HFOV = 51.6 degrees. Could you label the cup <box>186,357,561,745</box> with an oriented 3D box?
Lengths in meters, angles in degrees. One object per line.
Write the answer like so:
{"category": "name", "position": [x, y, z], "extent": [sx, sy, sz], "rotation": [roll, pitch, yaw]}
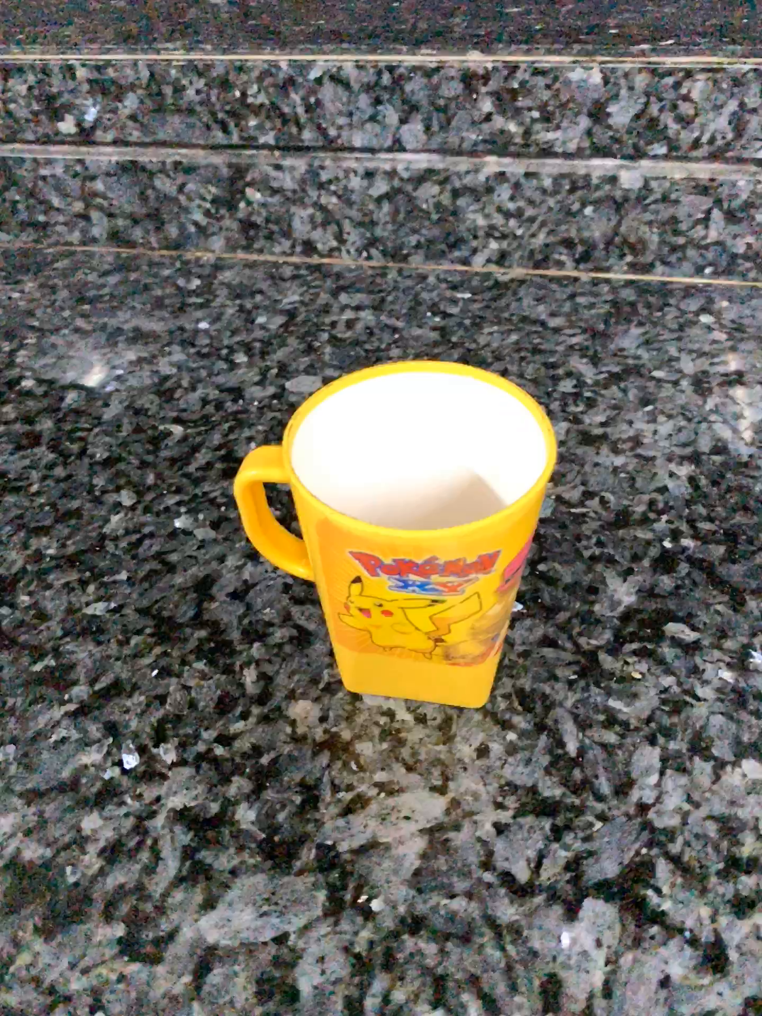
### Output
{"category": "cup", "position": [0.004, 0.016, 0.271], "extent": [0.100, 0.109, 0.071], "rotation": [4, 45, 8]}
